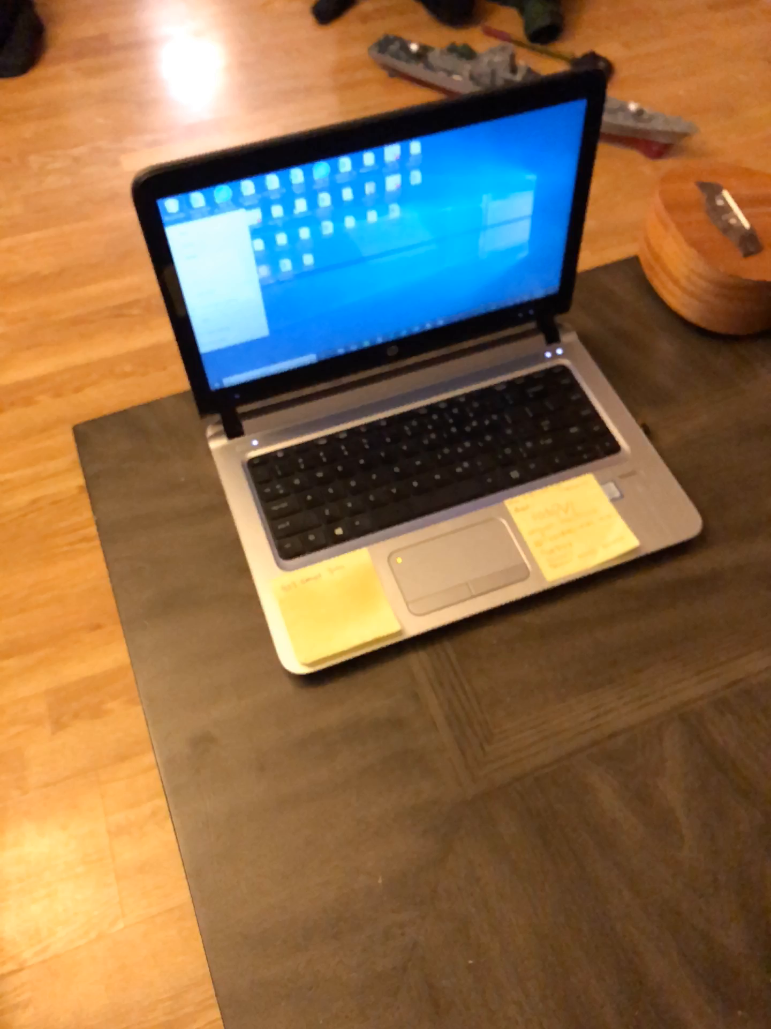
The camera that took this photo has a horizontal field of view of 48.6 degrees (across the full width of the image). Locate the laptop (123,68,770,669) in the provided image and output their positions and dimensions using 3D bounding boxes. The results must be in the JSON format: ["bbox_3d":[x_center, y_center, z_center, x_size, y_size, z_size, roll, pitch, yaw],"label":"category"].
[{"bbox_3d":[0.034,-0.101,0.582,0.317,0.217,0.247,-18,59,-11],"label":"laptop"}]
